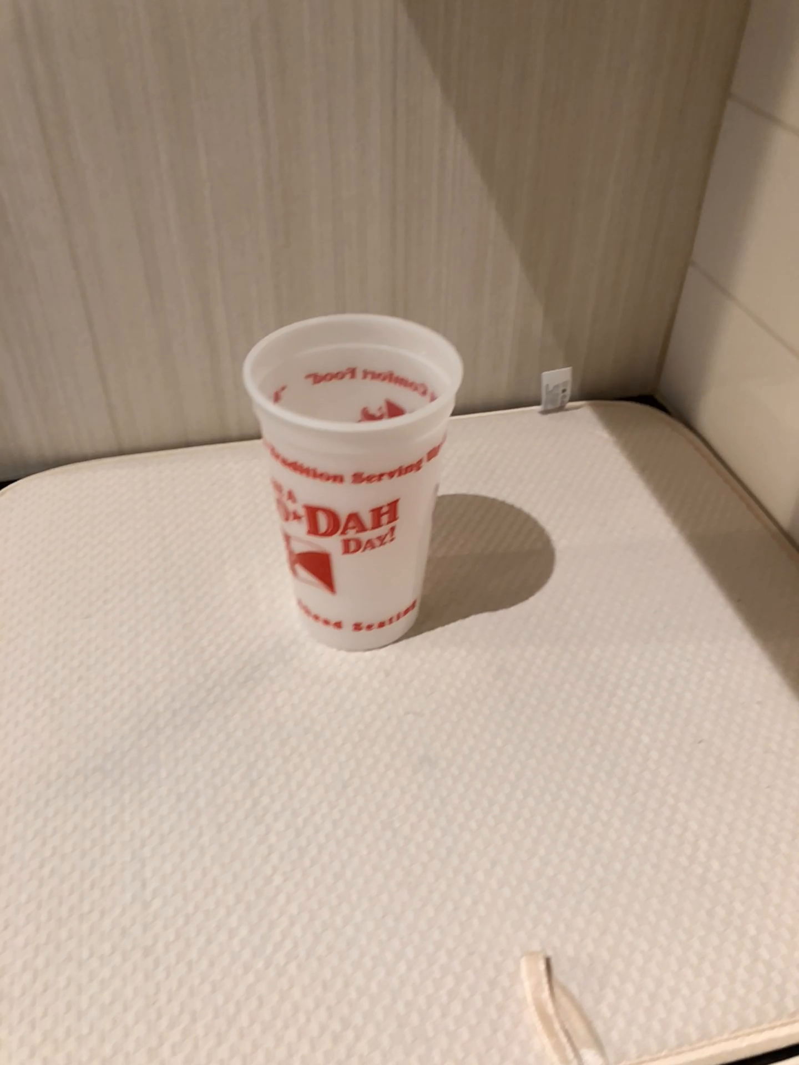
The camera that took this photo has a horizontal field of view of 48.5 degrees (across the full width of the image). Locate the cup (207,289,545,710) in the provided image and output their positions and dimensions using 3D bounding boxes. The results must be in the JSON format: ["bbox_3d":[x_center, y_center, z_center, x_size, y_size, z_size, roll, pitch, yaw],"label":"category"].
[{"bbox_3d":[-0.011,-0.018,0.417,0.100,0.139,0.100,1,41,-1],"label":"cup"}]
